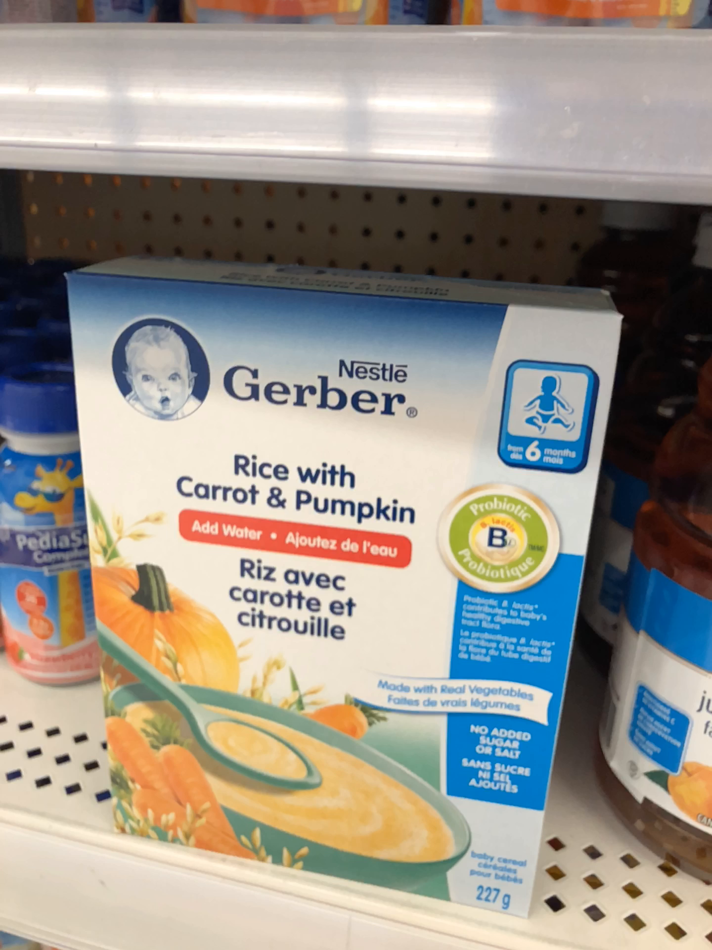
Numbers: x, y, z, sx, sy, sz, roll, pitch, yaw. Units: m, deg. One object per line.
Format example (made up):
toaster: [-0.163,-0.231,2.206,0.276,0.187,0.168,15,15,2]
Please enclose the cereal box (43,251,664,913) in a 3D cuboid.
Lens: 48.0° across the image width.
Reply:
cereal box: [-0.005,0.032,0.245,0.150,0.179,0.050,7,22,9]
